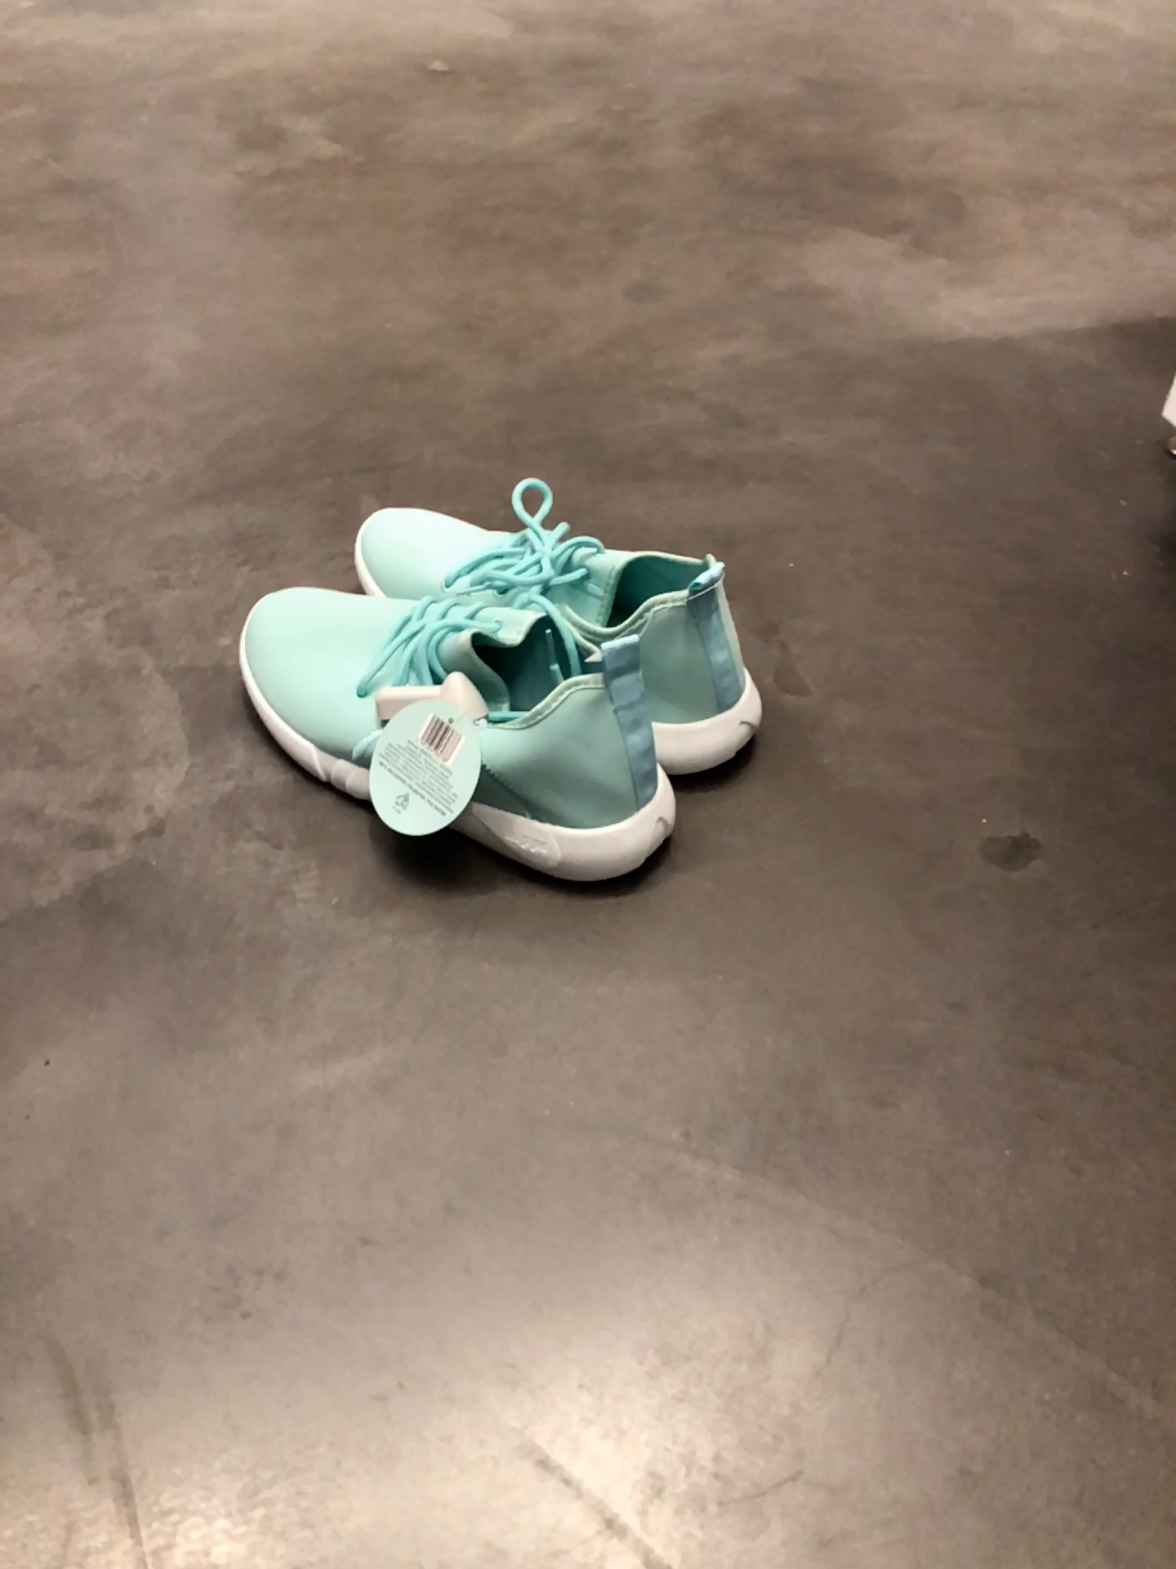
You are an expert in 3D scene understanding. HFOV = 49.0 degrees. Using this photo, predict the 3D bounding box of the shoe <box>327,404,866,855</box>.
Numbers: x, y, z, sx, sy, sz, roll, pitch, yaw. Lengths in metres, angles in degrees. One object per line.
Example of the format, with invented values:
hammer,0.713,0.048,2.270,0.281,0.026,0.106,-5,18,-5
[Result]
shoe,-0.001,-0.082,0.618,0.230,0.099,0.101,29,51,25

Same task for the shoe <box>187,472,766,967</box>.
shoe,-0.051,-0.037,0.573,0.230,0.099,0.101,27,50,24
